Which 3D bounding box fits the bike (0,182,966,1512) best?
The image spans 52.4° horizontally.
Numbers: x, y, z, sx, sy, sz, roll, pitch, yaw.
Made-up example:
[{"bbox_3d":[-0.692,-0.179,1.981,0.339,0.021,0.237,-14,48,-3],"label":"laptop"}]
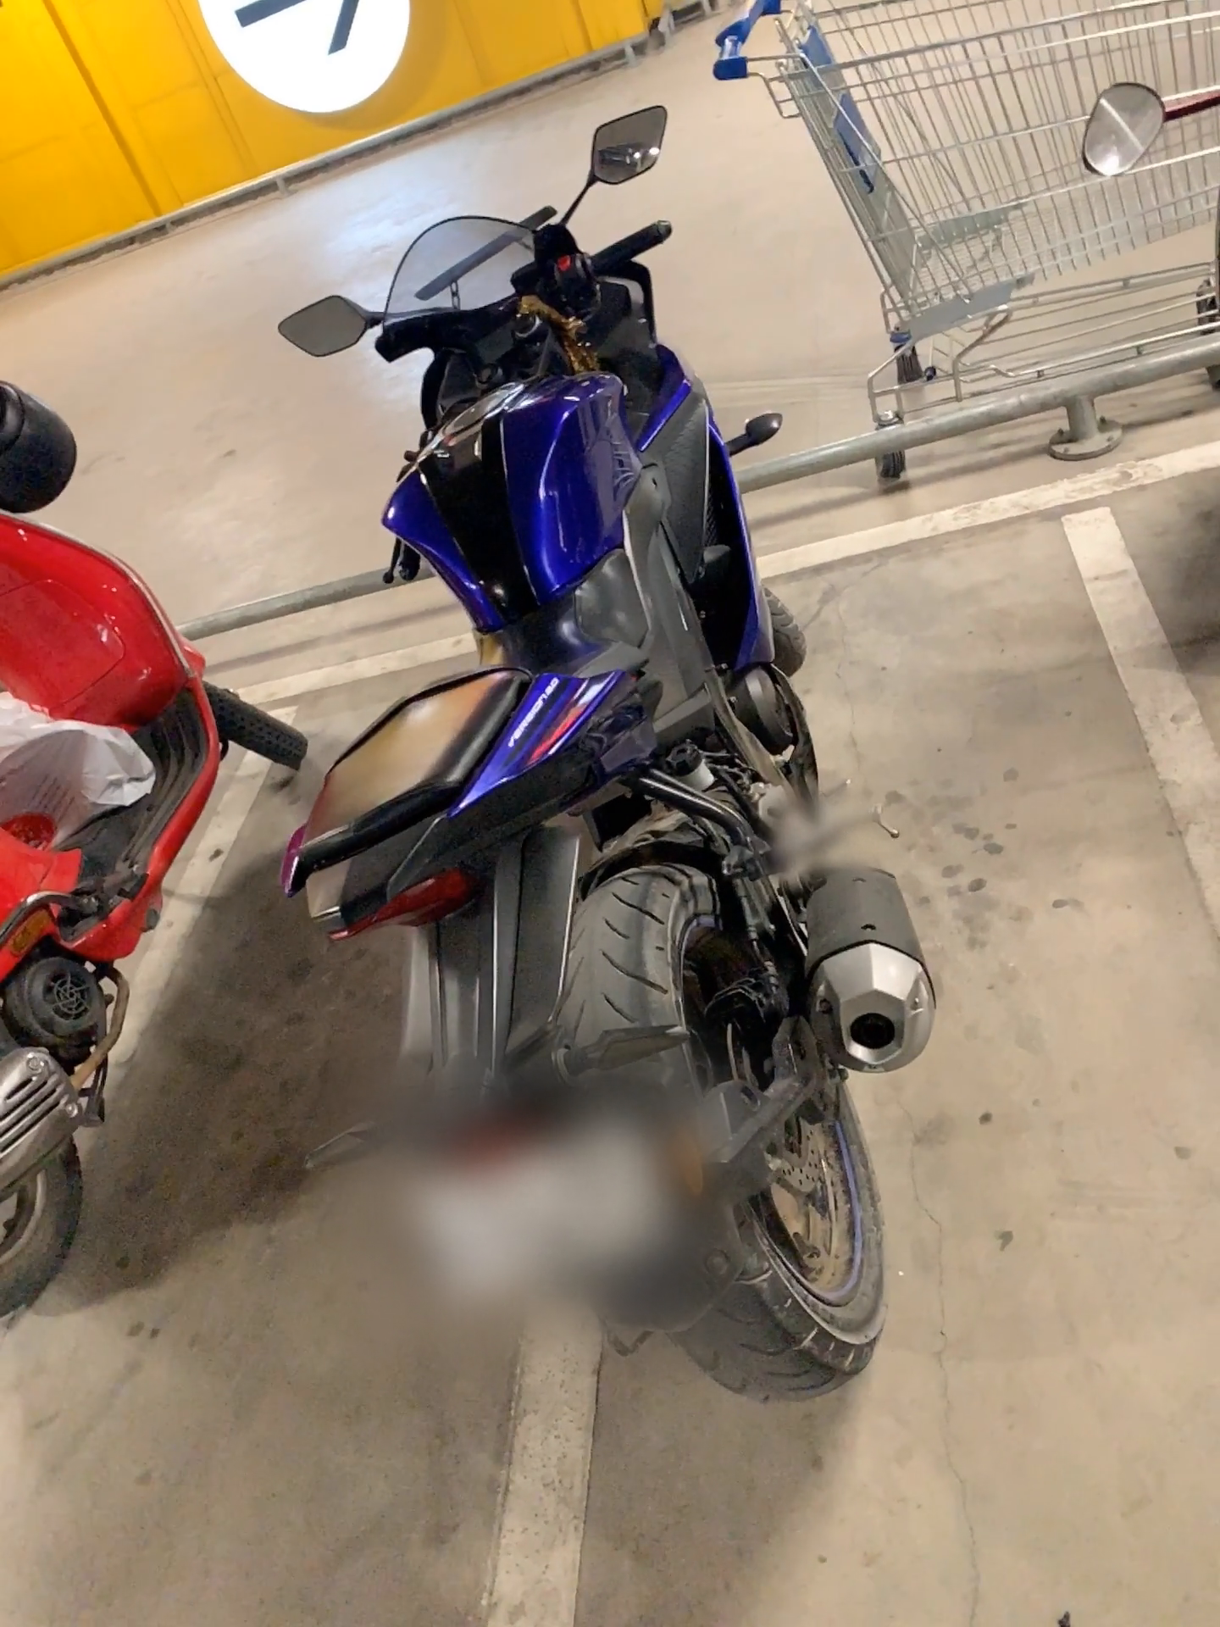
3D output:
[{"bbox_3d":[-0.246,-0.096,1.784,0.688,0.933,1.657,-20,40,5],"label":"bike"}]
